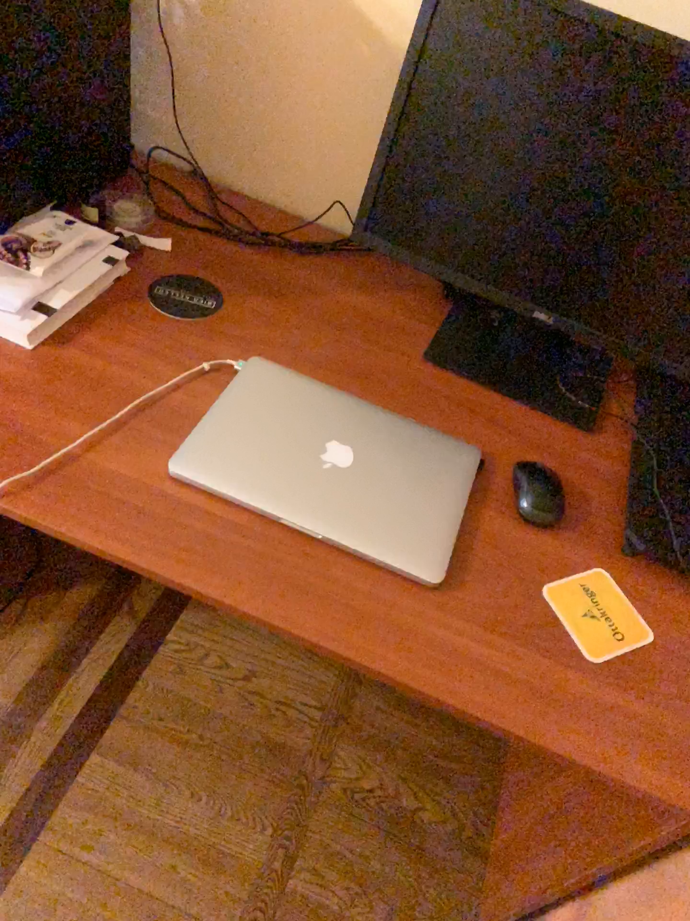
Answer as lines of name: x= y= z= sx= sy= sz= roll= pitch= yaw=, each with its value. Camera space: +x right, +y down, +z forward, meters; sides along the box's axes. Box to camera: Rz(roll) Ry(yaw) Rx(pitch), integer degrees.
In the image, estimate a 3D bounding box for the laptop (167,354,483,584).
laptop: x=-0.008 y=-0.004 z=0.788 sx=0.305 sy=0.001 sz=0.214 roll=23 pitch=46 yaw=4
